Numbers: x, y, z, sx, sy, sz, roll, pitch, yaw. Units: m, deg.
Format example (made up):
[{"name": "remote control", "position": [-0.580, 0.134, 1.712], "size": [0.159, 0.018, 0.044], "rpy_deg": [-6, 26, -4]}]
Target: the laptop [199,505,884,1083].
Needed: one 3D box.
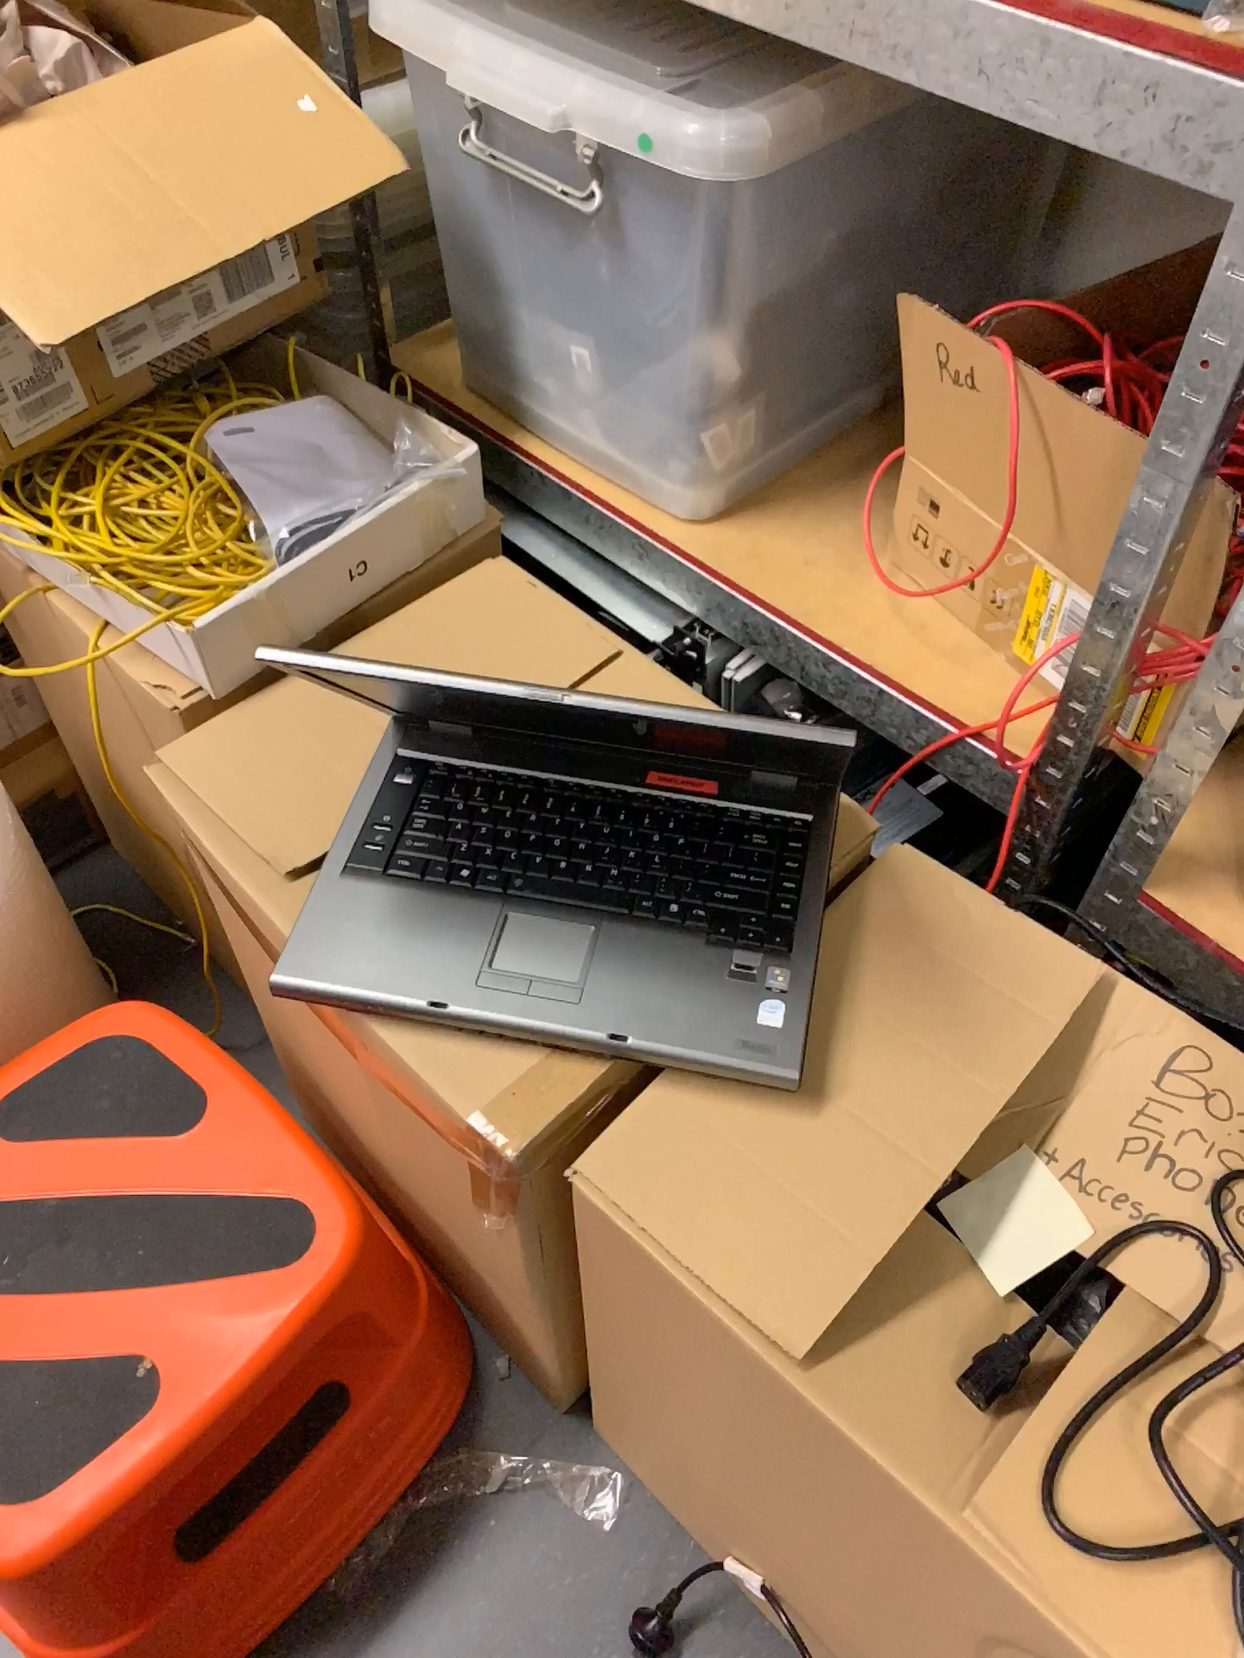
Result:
[{"name": "laptop", "position": [-0.034, -0.030, 0.822], "size": [0.352, 0.203, 0.254], "rpy_deg": [9, 51, 9]}]
